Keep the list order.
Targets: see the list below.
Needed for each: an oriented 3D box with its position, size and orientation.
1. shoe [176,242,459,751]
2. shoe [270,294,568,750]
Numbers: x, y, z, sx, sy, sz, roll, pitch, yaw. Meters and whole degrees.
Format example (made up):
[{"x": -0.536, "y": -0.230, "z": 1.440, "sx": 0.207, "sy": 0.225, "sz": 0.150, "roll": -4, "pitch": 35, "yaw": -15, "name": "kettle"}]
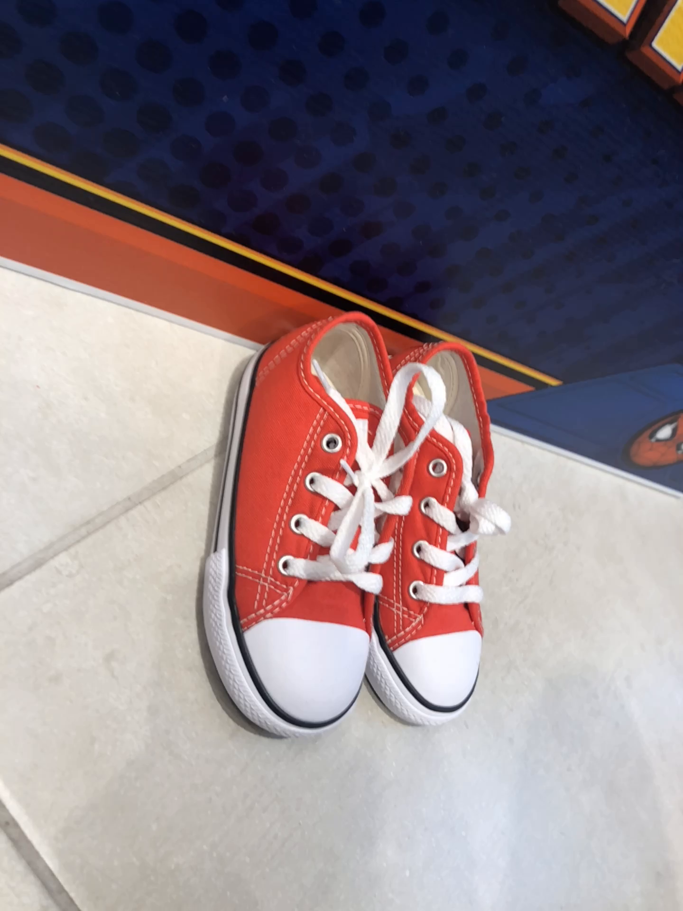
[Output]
[{"x": -0.015, "y": 0.020, "z": 0.321, "sx": 0.080, "sy": 0.070, "sz": 0.190, "roll": 15, "pitch": 60, "yaw": -37, "name": "shoe"}, {"x": 0.032, "y": 0.031, "z": 0.363, "sx": 0.080, "sy": 0.070, "sz": 0.190, "roll": 5, "pitch": 66, "yaw": -41, "name": "shoe"}]
